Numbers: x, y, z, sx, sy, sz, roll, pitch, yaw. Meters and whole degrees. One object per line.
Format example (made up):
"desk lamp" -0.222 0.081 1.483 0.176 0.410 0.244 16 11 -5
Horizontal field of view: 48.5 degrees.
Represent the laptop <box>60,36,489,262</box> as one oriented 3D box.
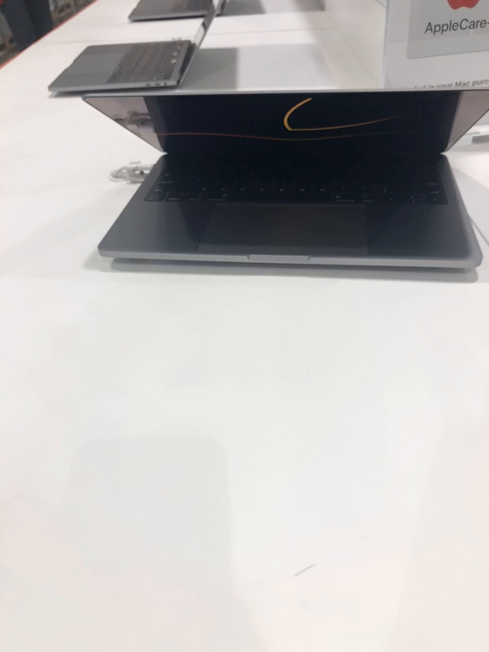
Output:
"laptop" 0.040 -0.161 0.464 0.297 0.109 0.211 3 38 9
